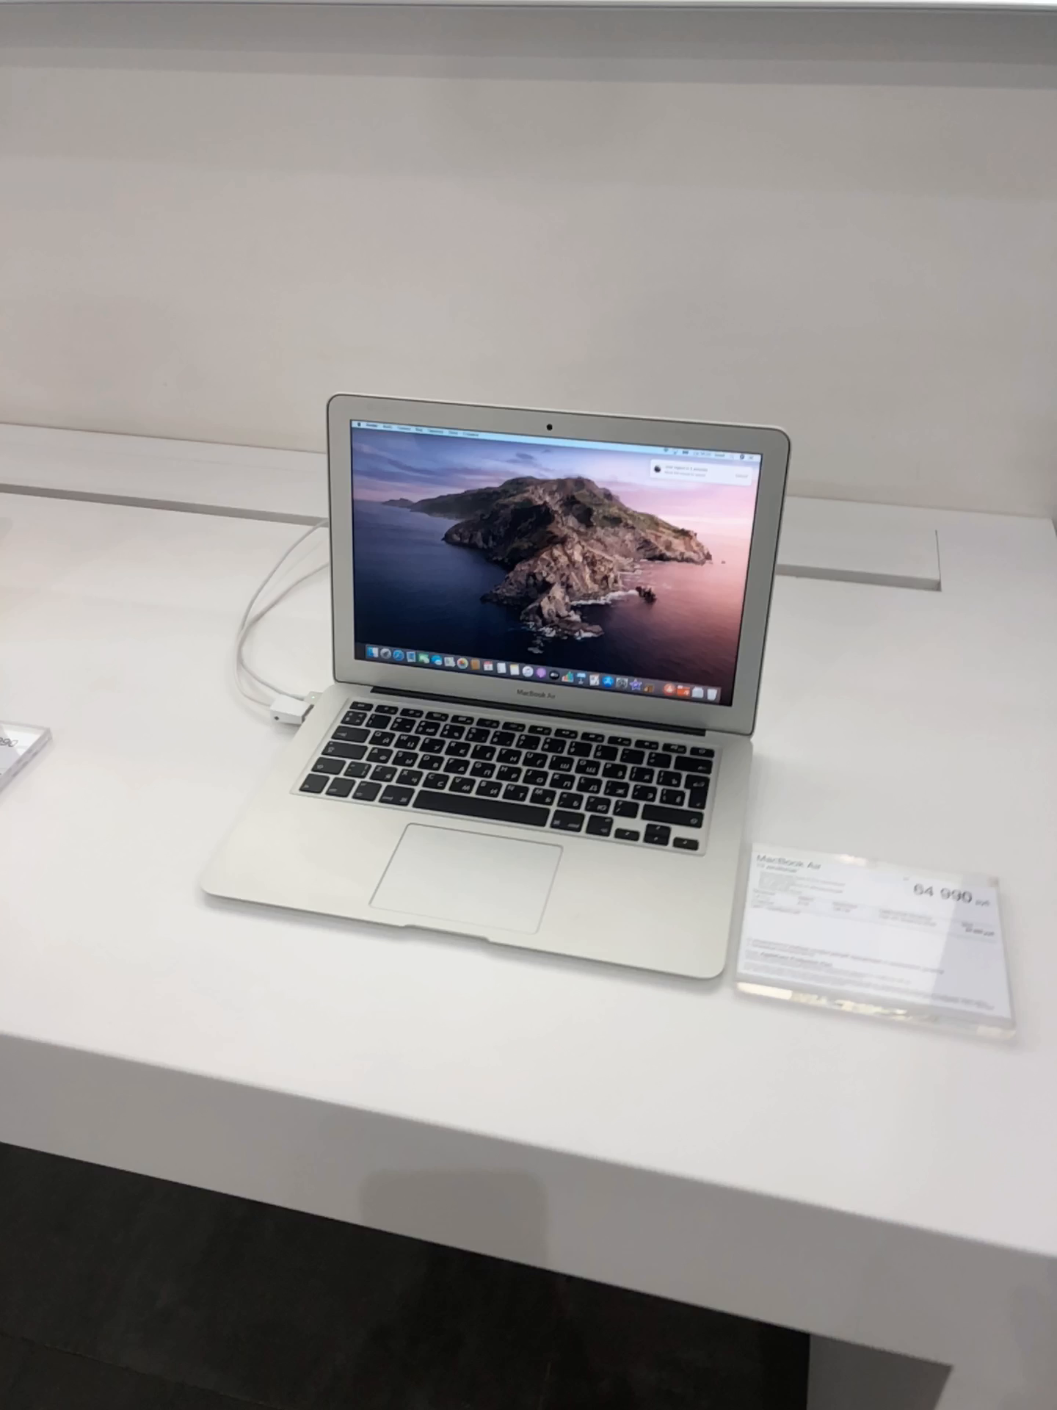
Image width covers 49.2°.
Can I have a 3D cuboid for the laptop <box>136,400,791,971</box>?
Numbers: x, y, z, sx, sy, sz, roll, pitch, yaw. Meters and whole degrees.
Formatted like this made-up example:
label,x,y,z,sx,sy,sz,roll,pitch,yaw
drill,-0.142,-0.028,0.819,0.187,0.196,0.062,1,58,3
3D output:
label,x,y,z,sx,sy,sz,roll,pitch,yaw
laptop,-0.015,-0.033,0.725,0.315,0.207,0.271,7,36,12
